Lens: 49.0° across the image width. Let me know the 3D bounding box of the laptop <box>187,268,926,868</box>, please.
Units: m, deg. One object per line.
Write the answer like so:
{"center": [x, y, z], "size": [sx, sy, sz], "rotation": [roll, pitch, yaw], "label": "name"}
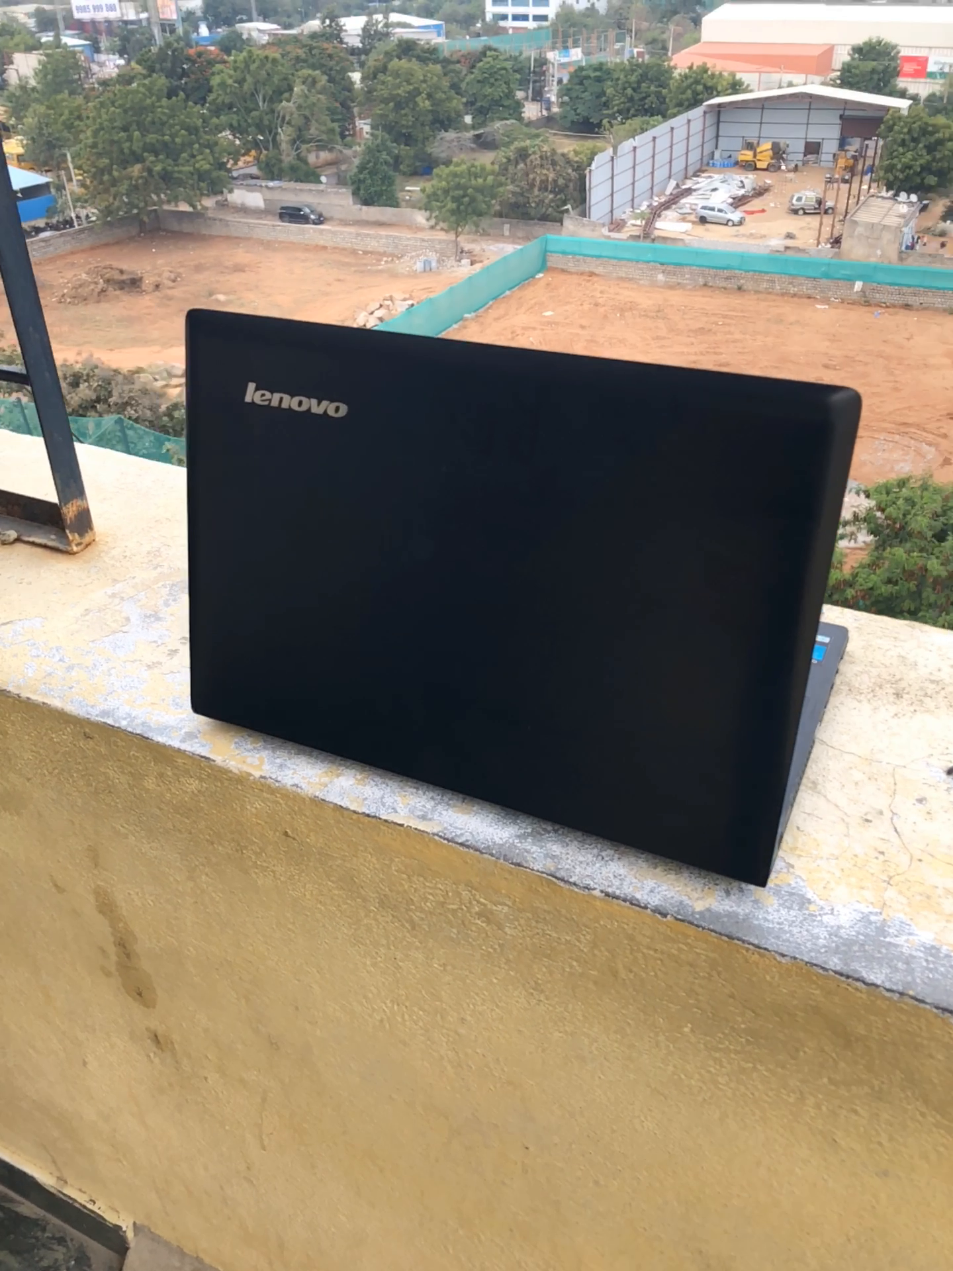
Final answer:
{"center": [0.054, -0.070, 0.634], "size": [0.334, 0.223, 0.246], "rotation": [14, 36, 25], "label": "laptop"}
